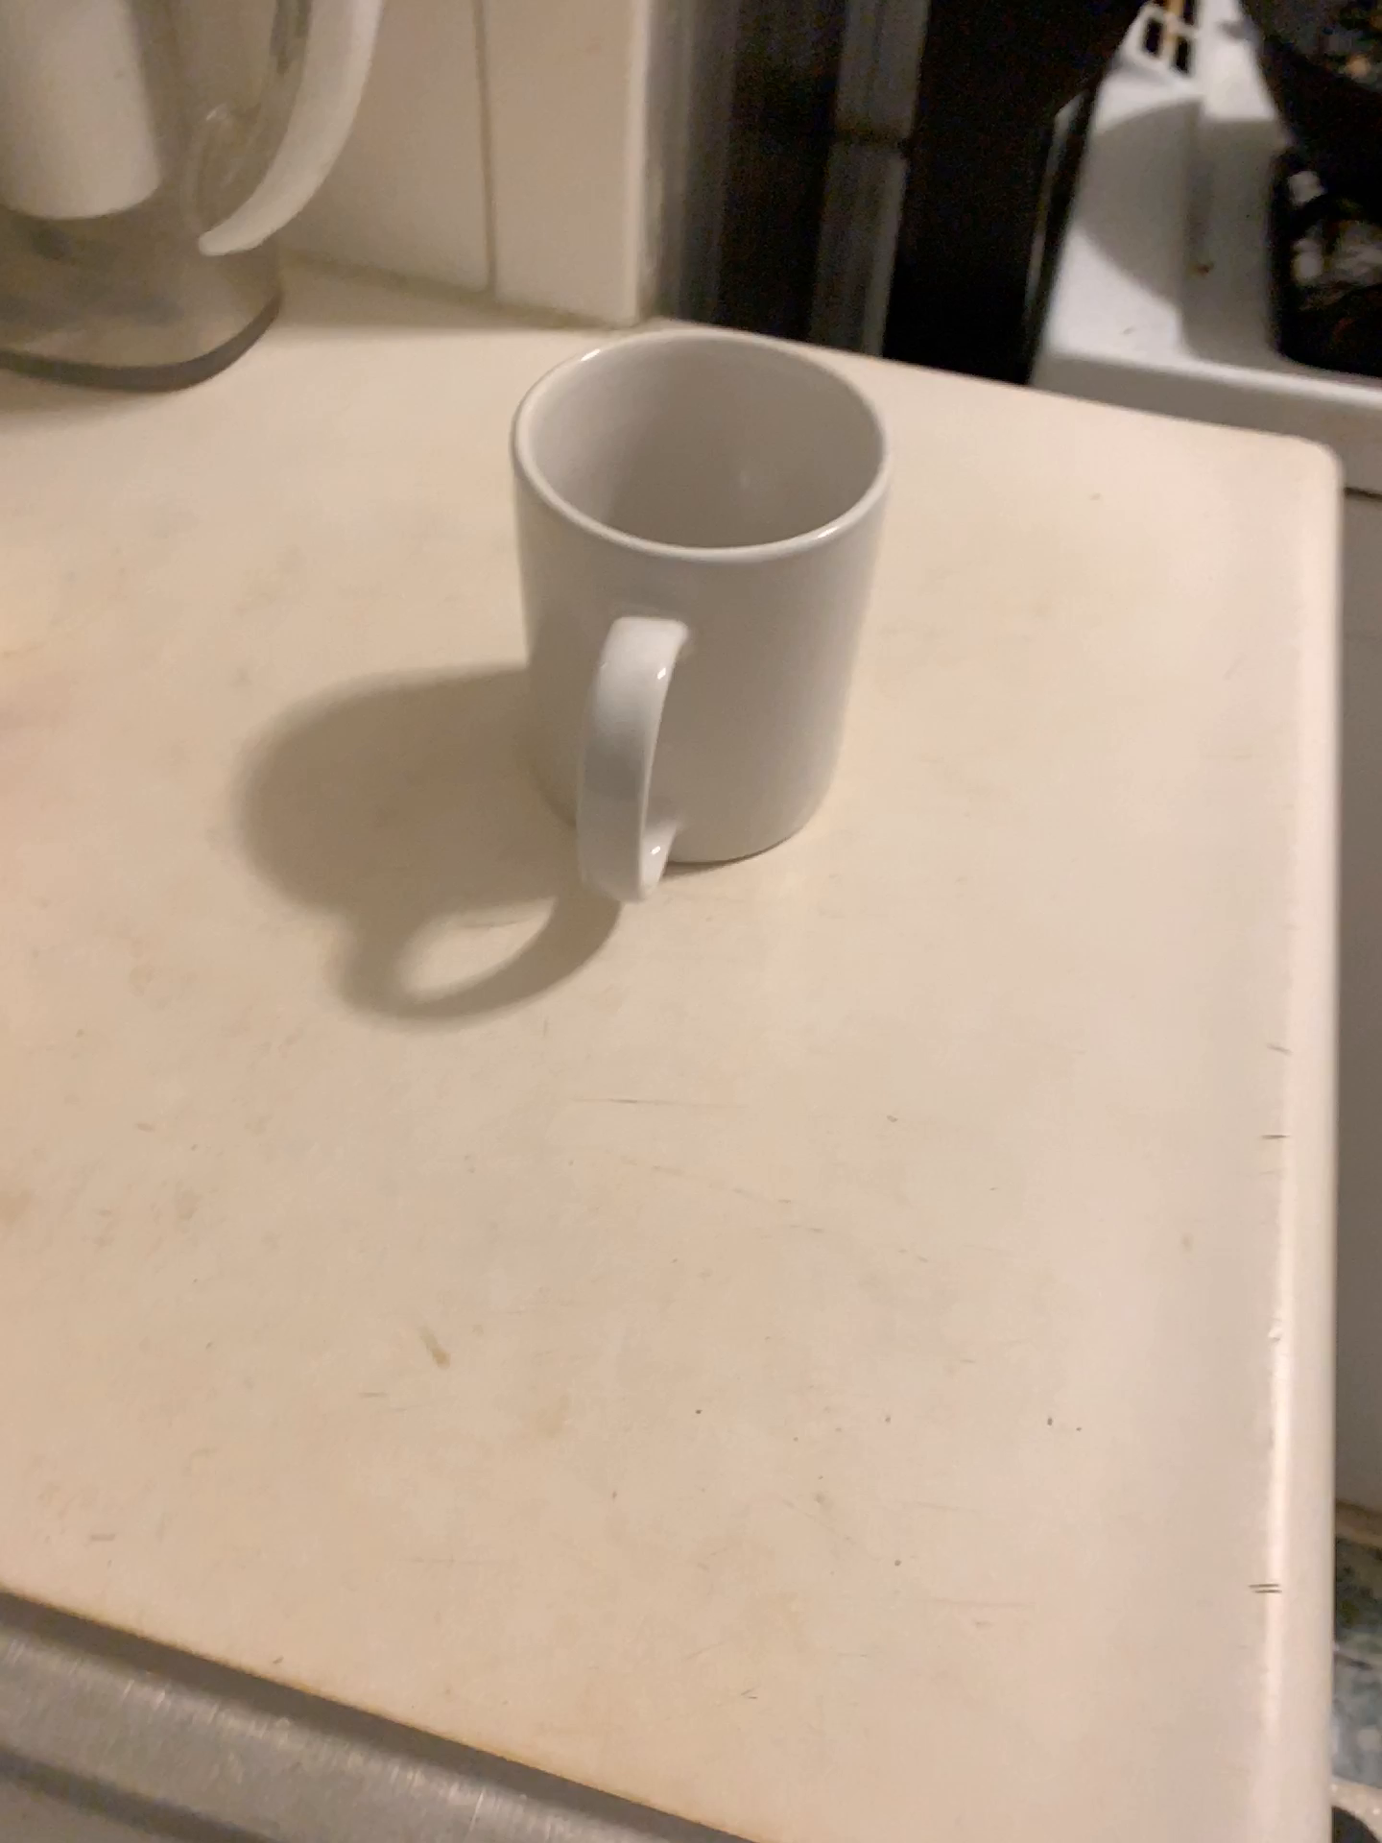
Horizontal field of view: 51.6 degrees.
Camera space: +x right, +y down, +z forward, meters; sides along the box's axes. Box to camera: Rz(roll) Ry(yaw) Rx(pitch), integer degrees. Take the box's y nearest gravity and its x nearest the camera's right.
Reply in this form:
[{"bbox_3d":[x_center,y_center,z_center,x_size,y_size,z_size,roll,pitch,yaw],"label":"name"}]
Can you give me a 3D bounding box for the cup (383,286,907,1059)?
[{"bbox_3d":[-0.005,-0.062,0.348,0.090,0.110,0.141,8,51,3],"label":"cup"}]
